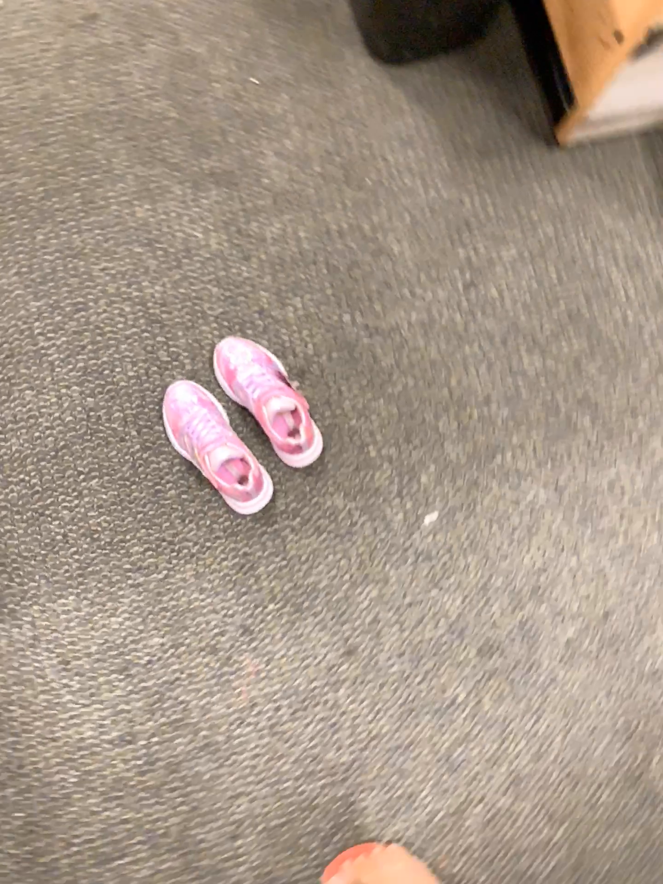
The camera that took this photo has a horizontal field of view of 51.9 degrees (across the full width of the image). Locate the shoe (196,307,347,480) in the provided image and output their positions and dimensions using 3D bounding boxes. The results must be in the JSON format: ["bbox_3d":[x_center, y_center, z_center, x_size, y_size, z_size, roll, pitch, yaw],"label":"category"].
[{"bbox_3d":[-0.079,-0.060,0.909,0.086,0.110,0.200,-37,86,-7],"label":"shoe"}]

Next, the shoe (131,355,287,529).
[{"bbox_3d":[-0.152,0.005,0.880,0.086,0.110,0.200,-37,86,-7],"label":"shoe"}]
